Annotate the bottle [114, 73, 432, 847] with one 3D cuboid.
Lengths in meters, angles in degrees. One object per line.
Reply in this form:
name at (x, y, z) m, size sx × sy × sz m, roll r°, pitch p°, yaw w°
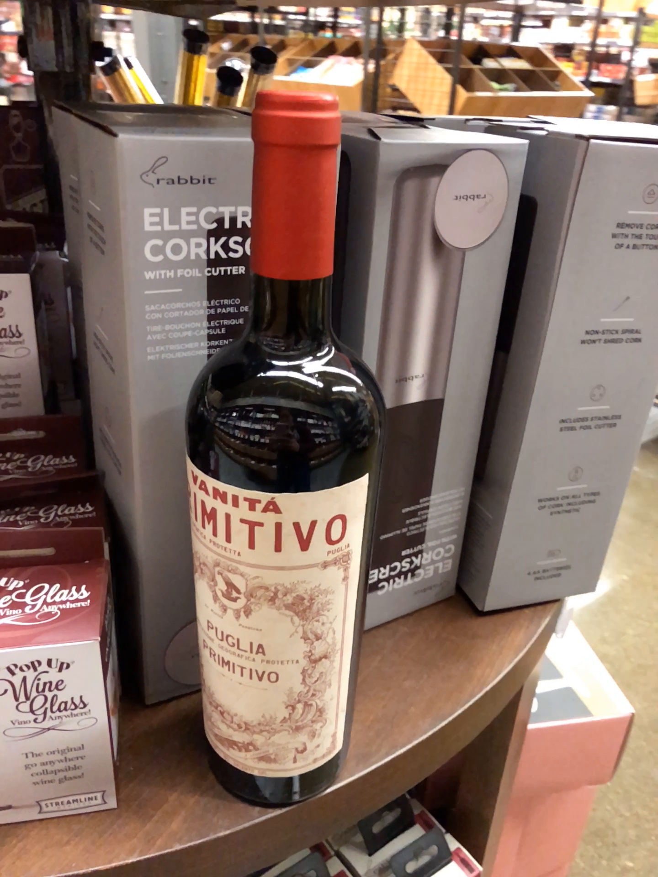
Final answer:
bottle at (-0.020, 0.022, 0.293) m, size 0.072 × 0.299 × 0.072 m, roll 2°, pitch 27°, yaw -1°
